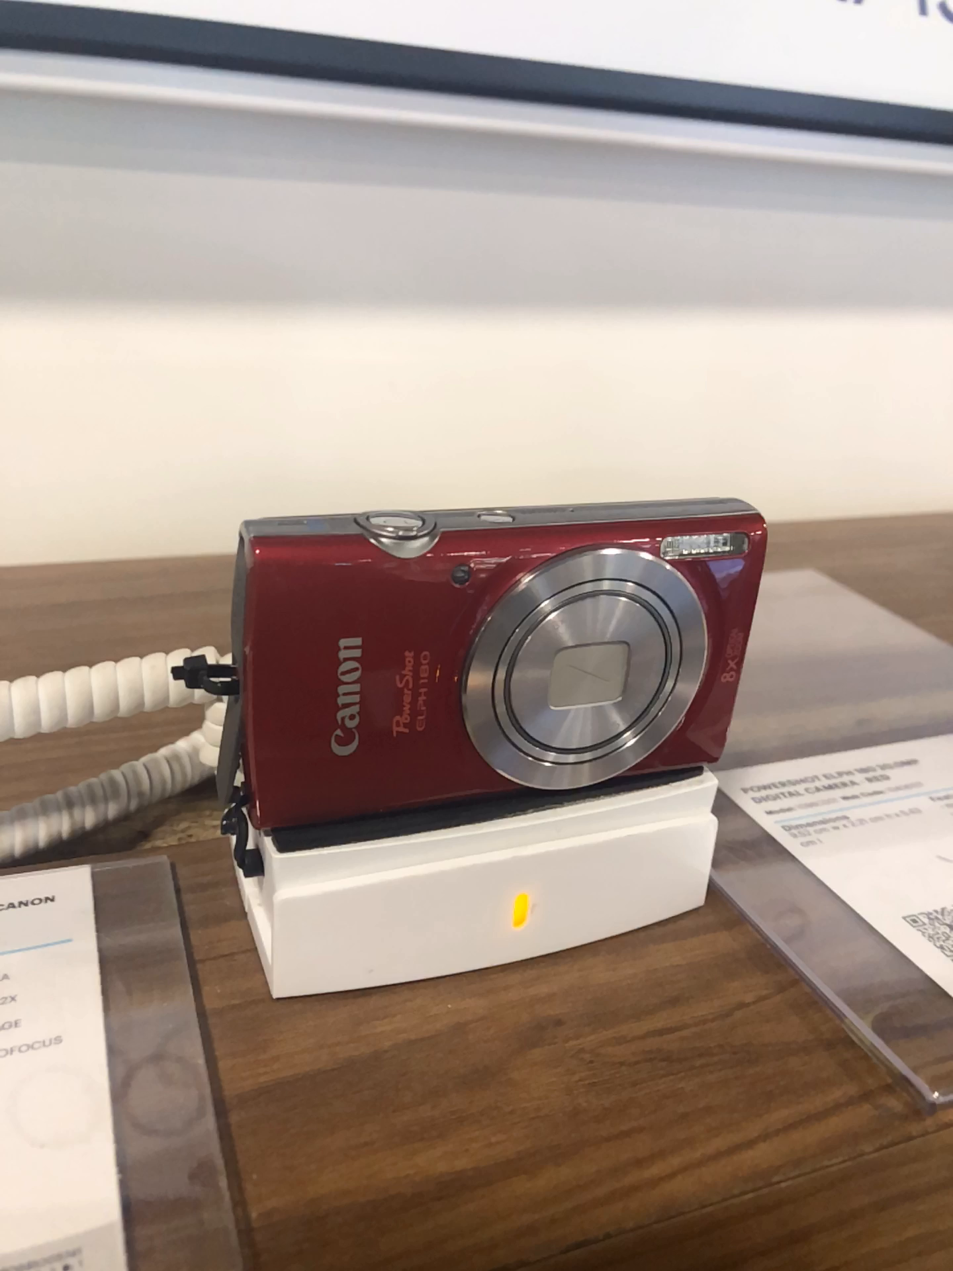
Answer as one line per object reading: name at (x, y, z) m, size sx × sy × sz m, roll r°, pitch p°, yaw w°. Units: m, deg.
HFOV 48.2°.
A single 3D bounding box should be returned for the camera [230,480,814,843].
camera at (0.007, 0.002, 0.190) m, size 0.097 × 0.051 × 0.023 m, roll -5°, pitch 29°, yaw -20°
